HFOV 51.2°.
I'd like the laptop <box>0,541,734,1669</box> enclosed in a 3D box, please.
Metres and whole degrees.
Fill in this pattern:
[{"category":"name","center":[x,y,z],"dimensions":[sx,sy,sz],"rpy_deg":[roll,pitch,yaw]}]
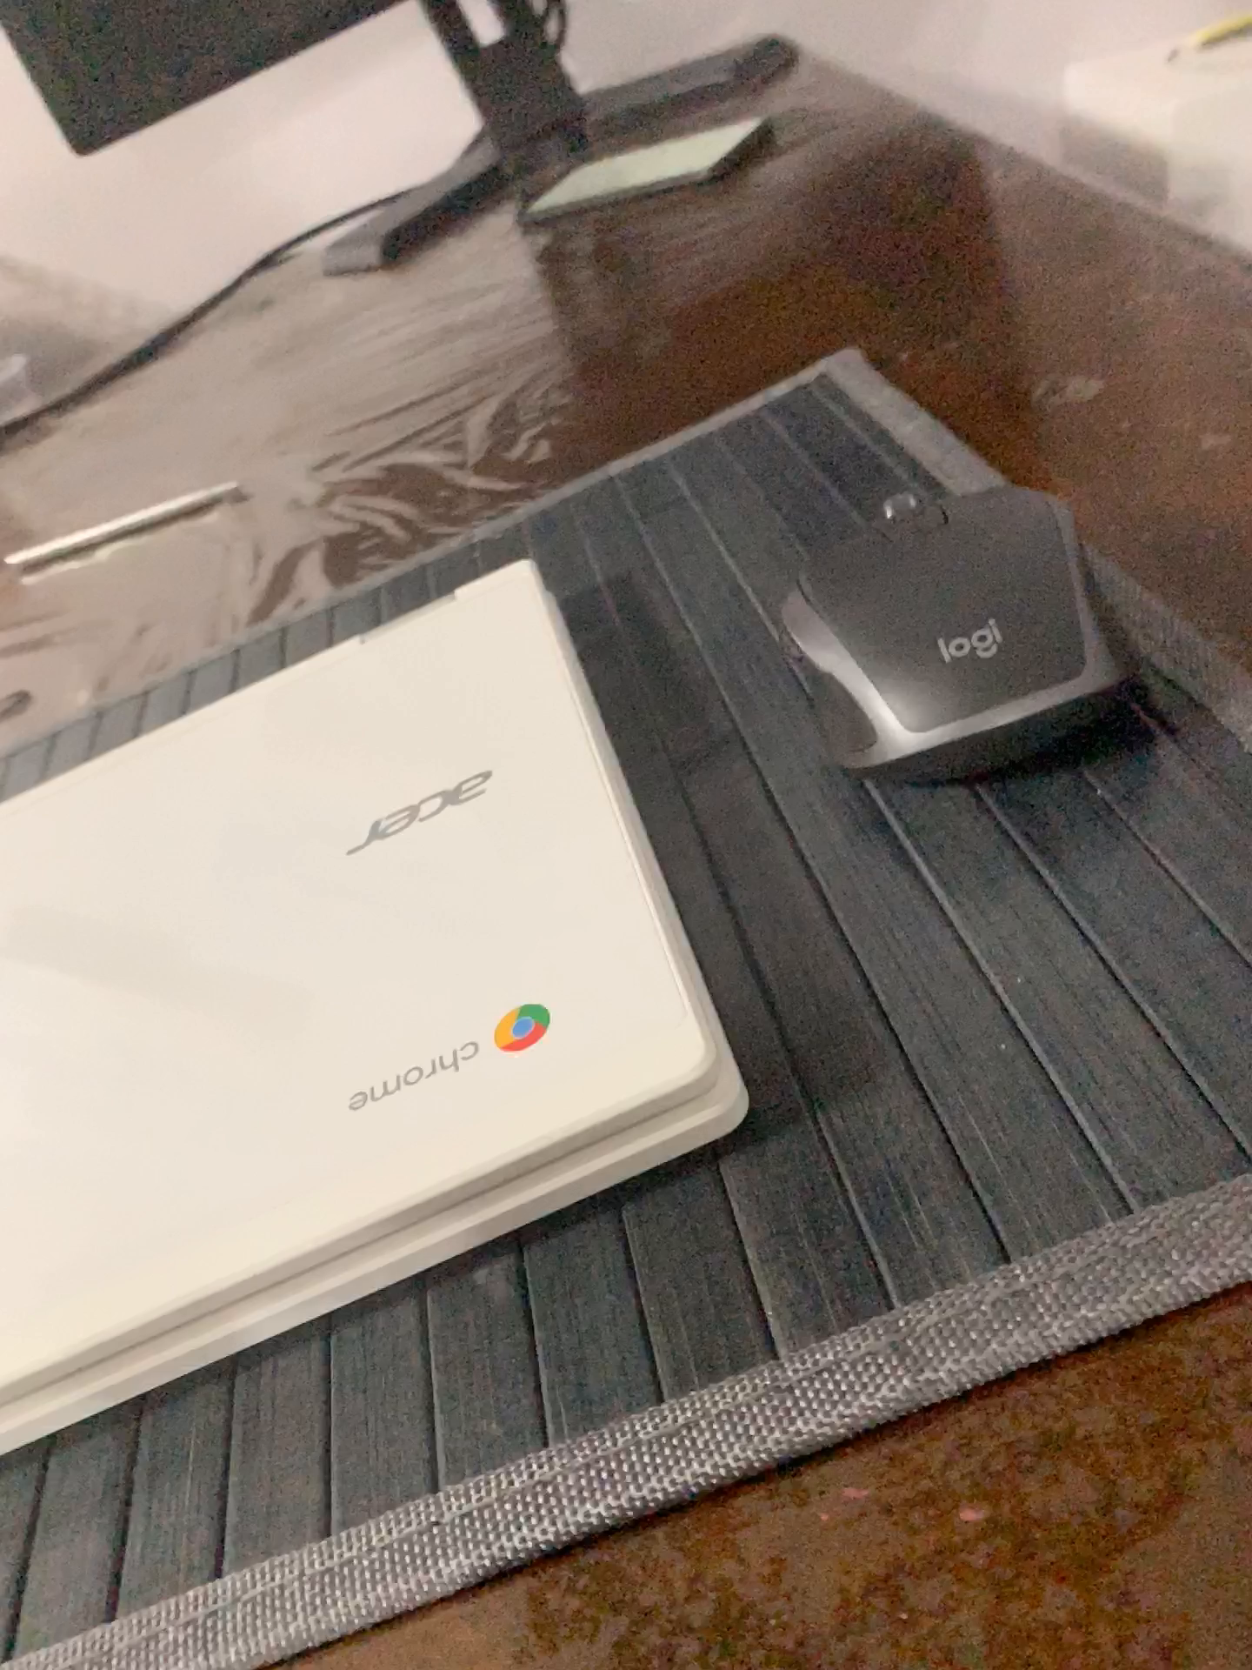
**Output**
[{"category":"laptop","center":[-0.131,0.035,0.277],"dimensions":[0.278,0.002,0.196],"rpy_deg":[-25,35,5]}]
